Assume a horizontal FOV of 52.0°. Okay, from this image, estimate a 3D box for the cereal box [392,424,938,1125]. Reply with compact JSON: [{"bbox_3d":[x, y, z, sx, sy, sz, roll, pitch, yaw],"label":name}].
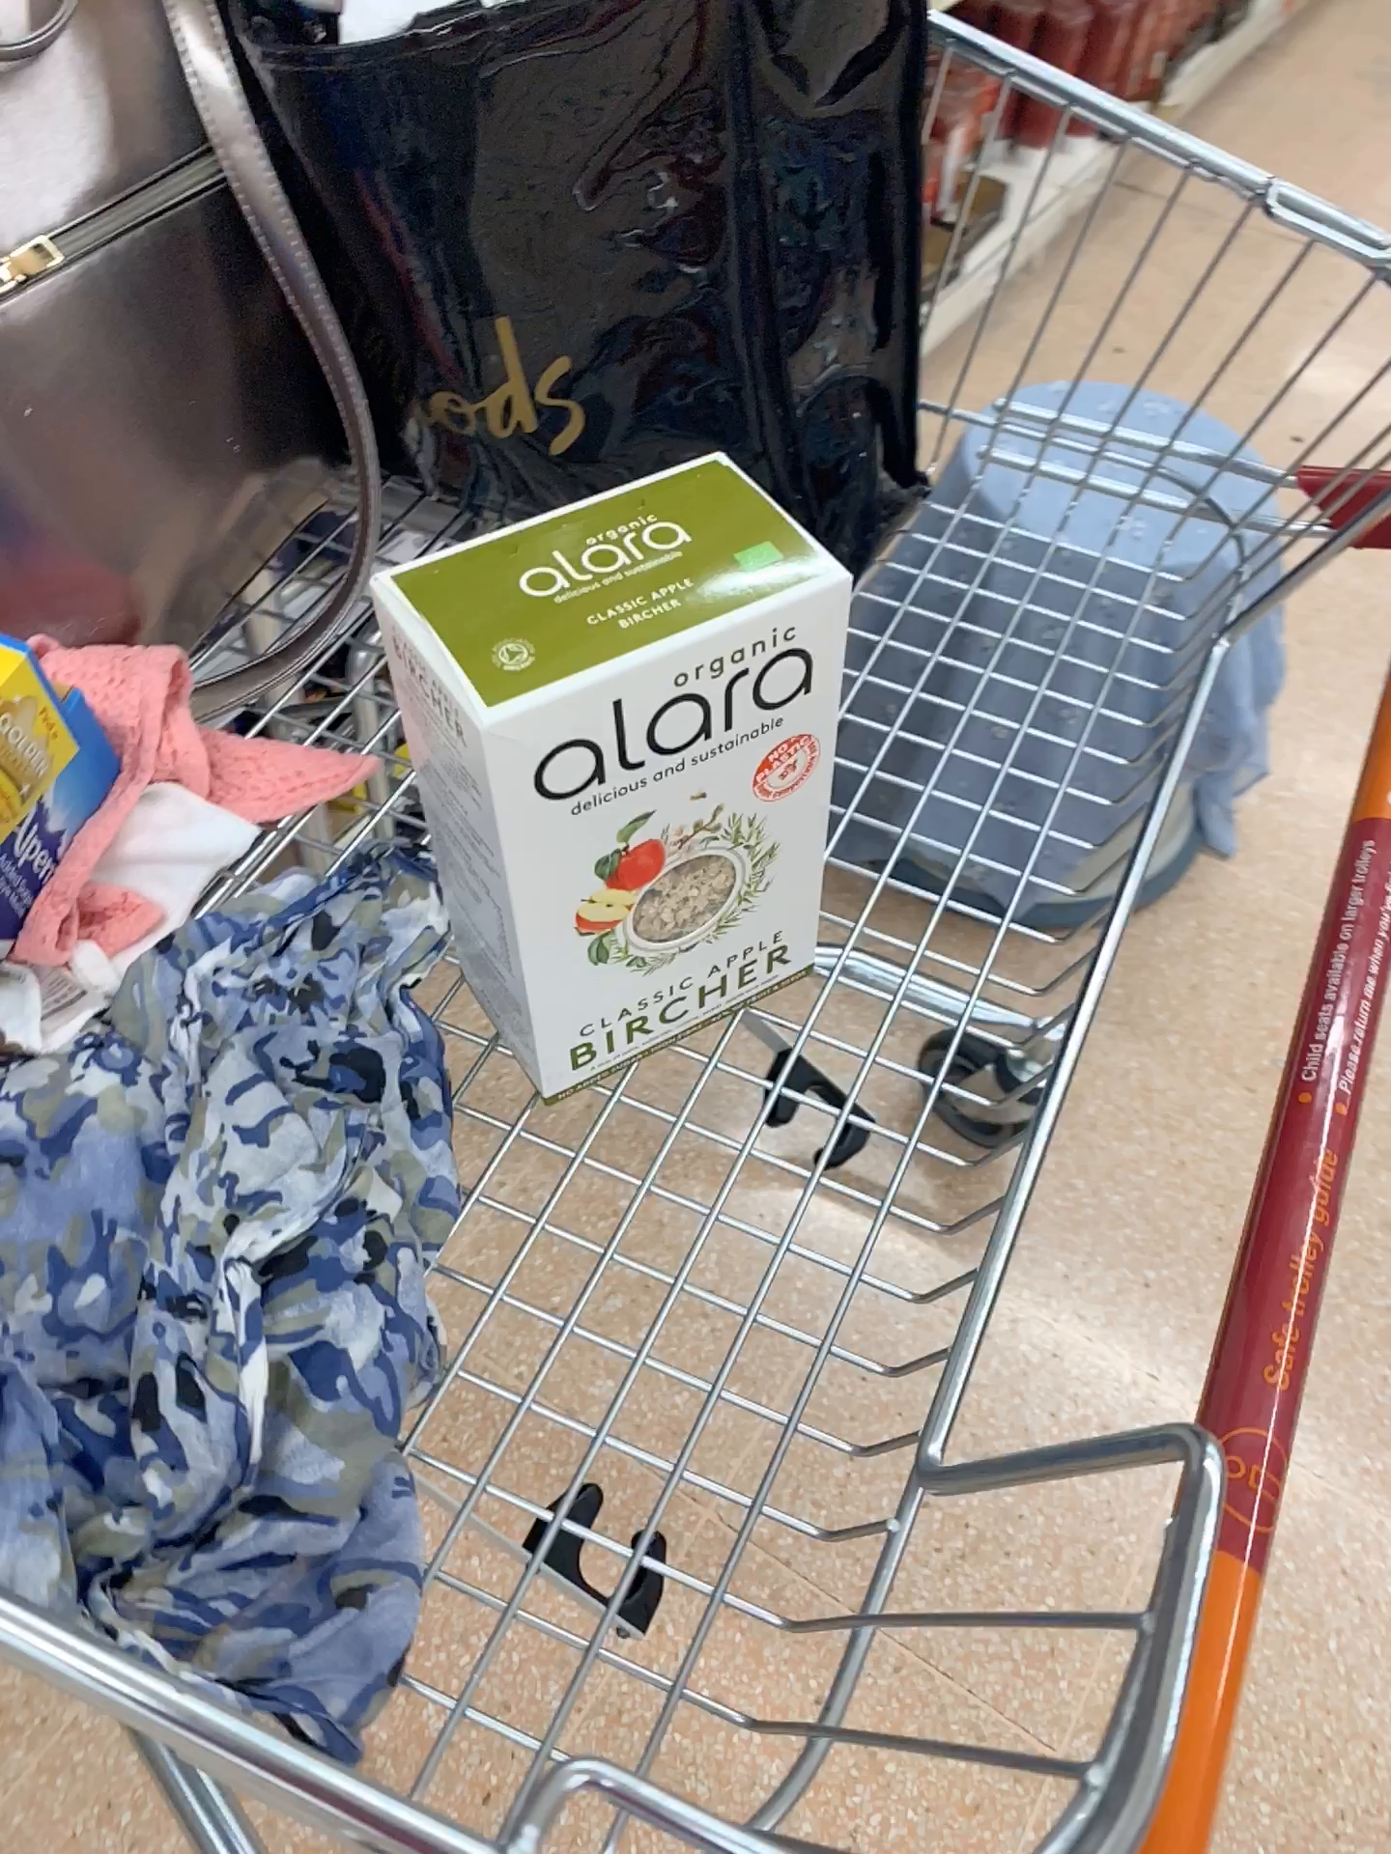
[{"bbox_3d":[-0.010,-0.041,0.446,0.120,0.179,0.080,-25,56,-20],"label":"cereal box"}]
